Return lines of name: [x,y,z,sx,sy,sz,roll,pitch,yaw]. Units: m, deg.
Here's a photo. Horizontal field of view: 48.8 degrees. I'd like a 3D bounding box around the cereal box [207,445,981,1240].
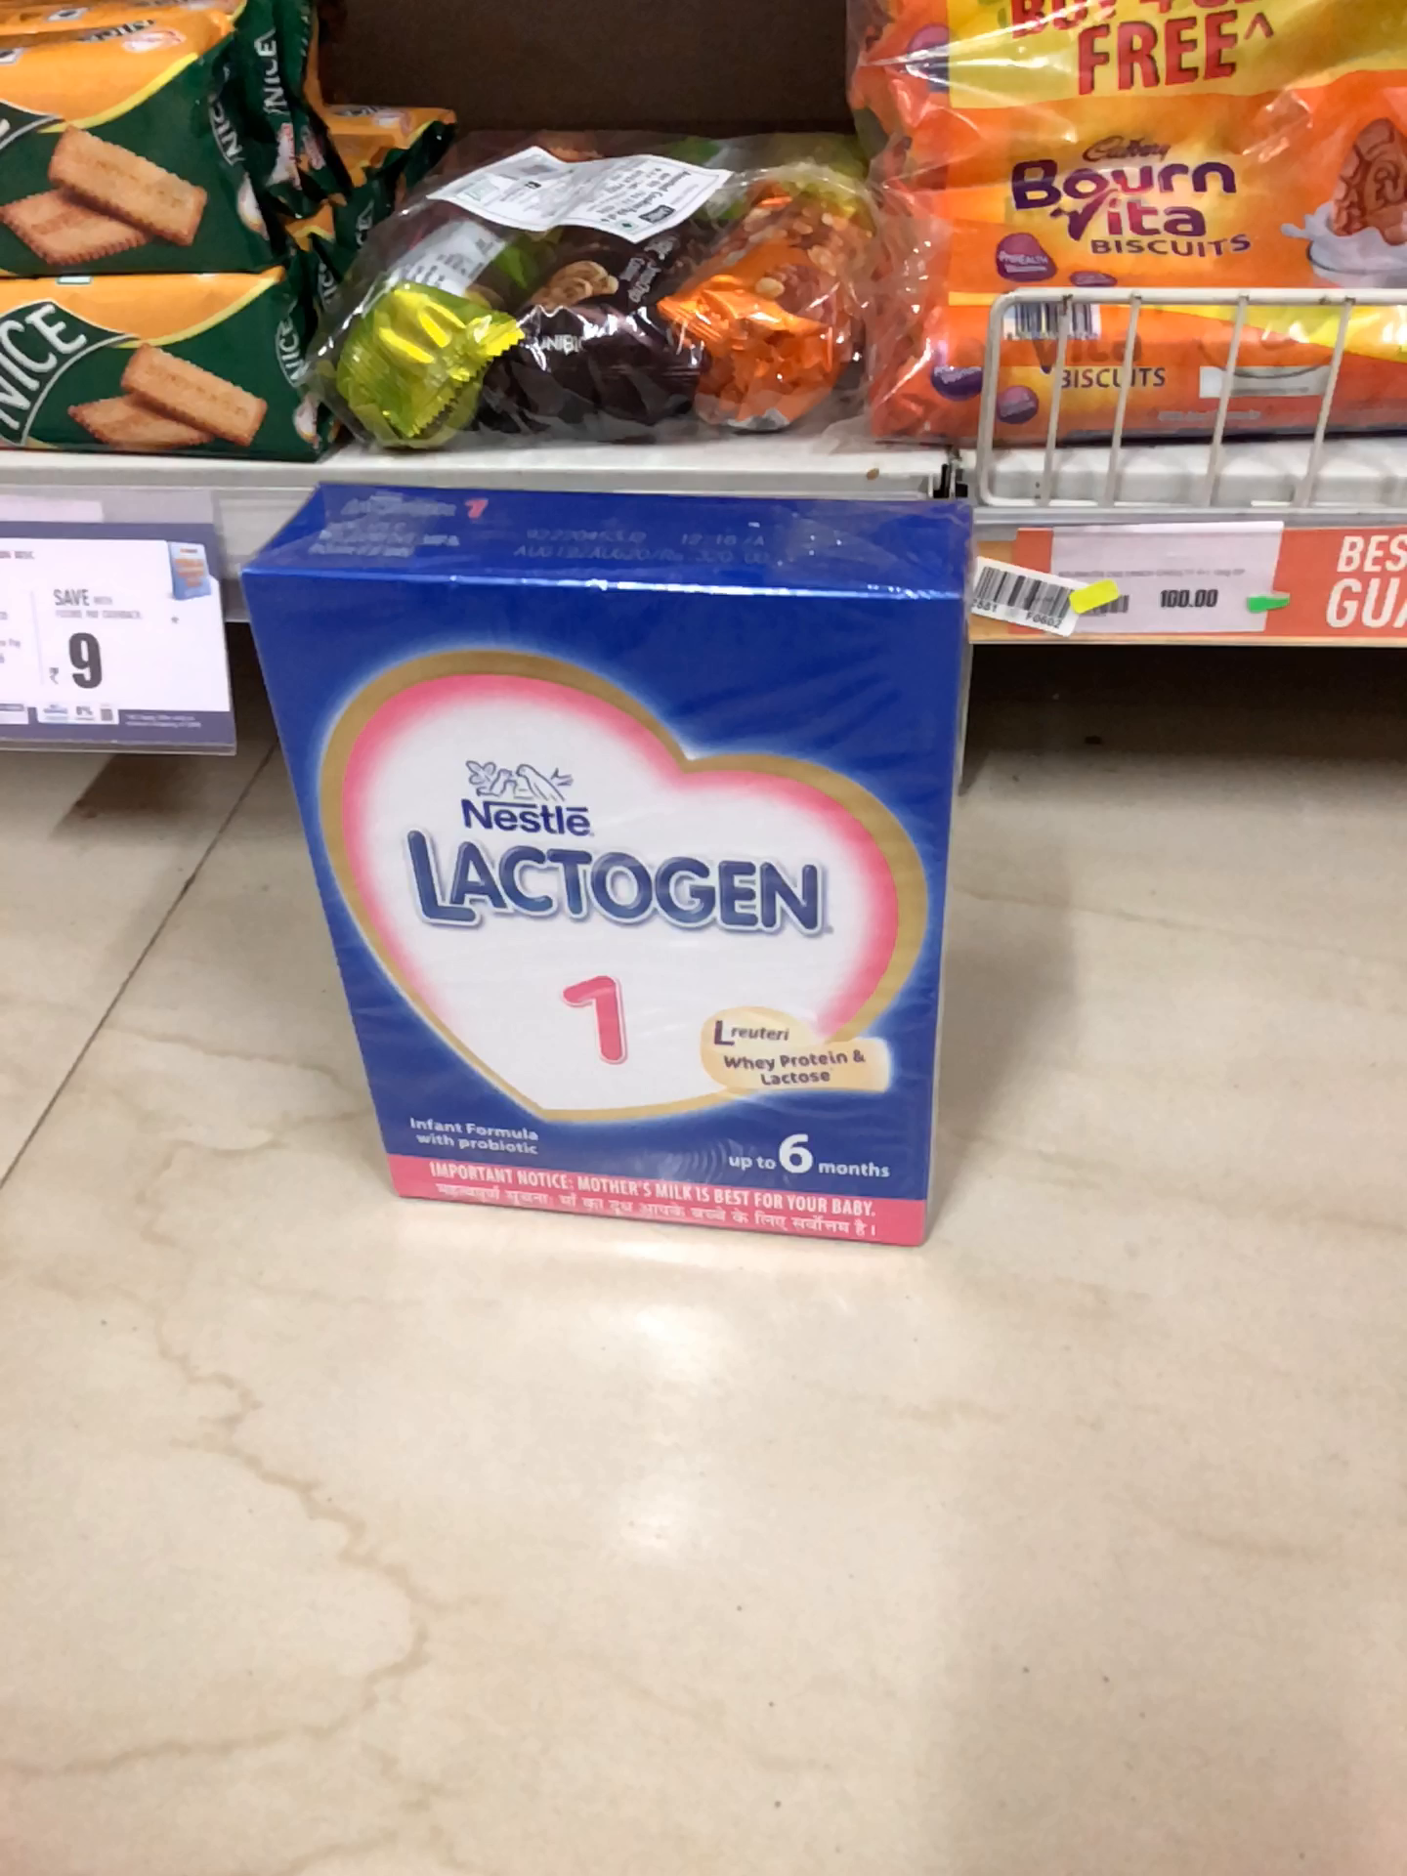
cereal box: [-0.016,-0.015,0.375,0.150,0.189,0.050,4,40,8]
